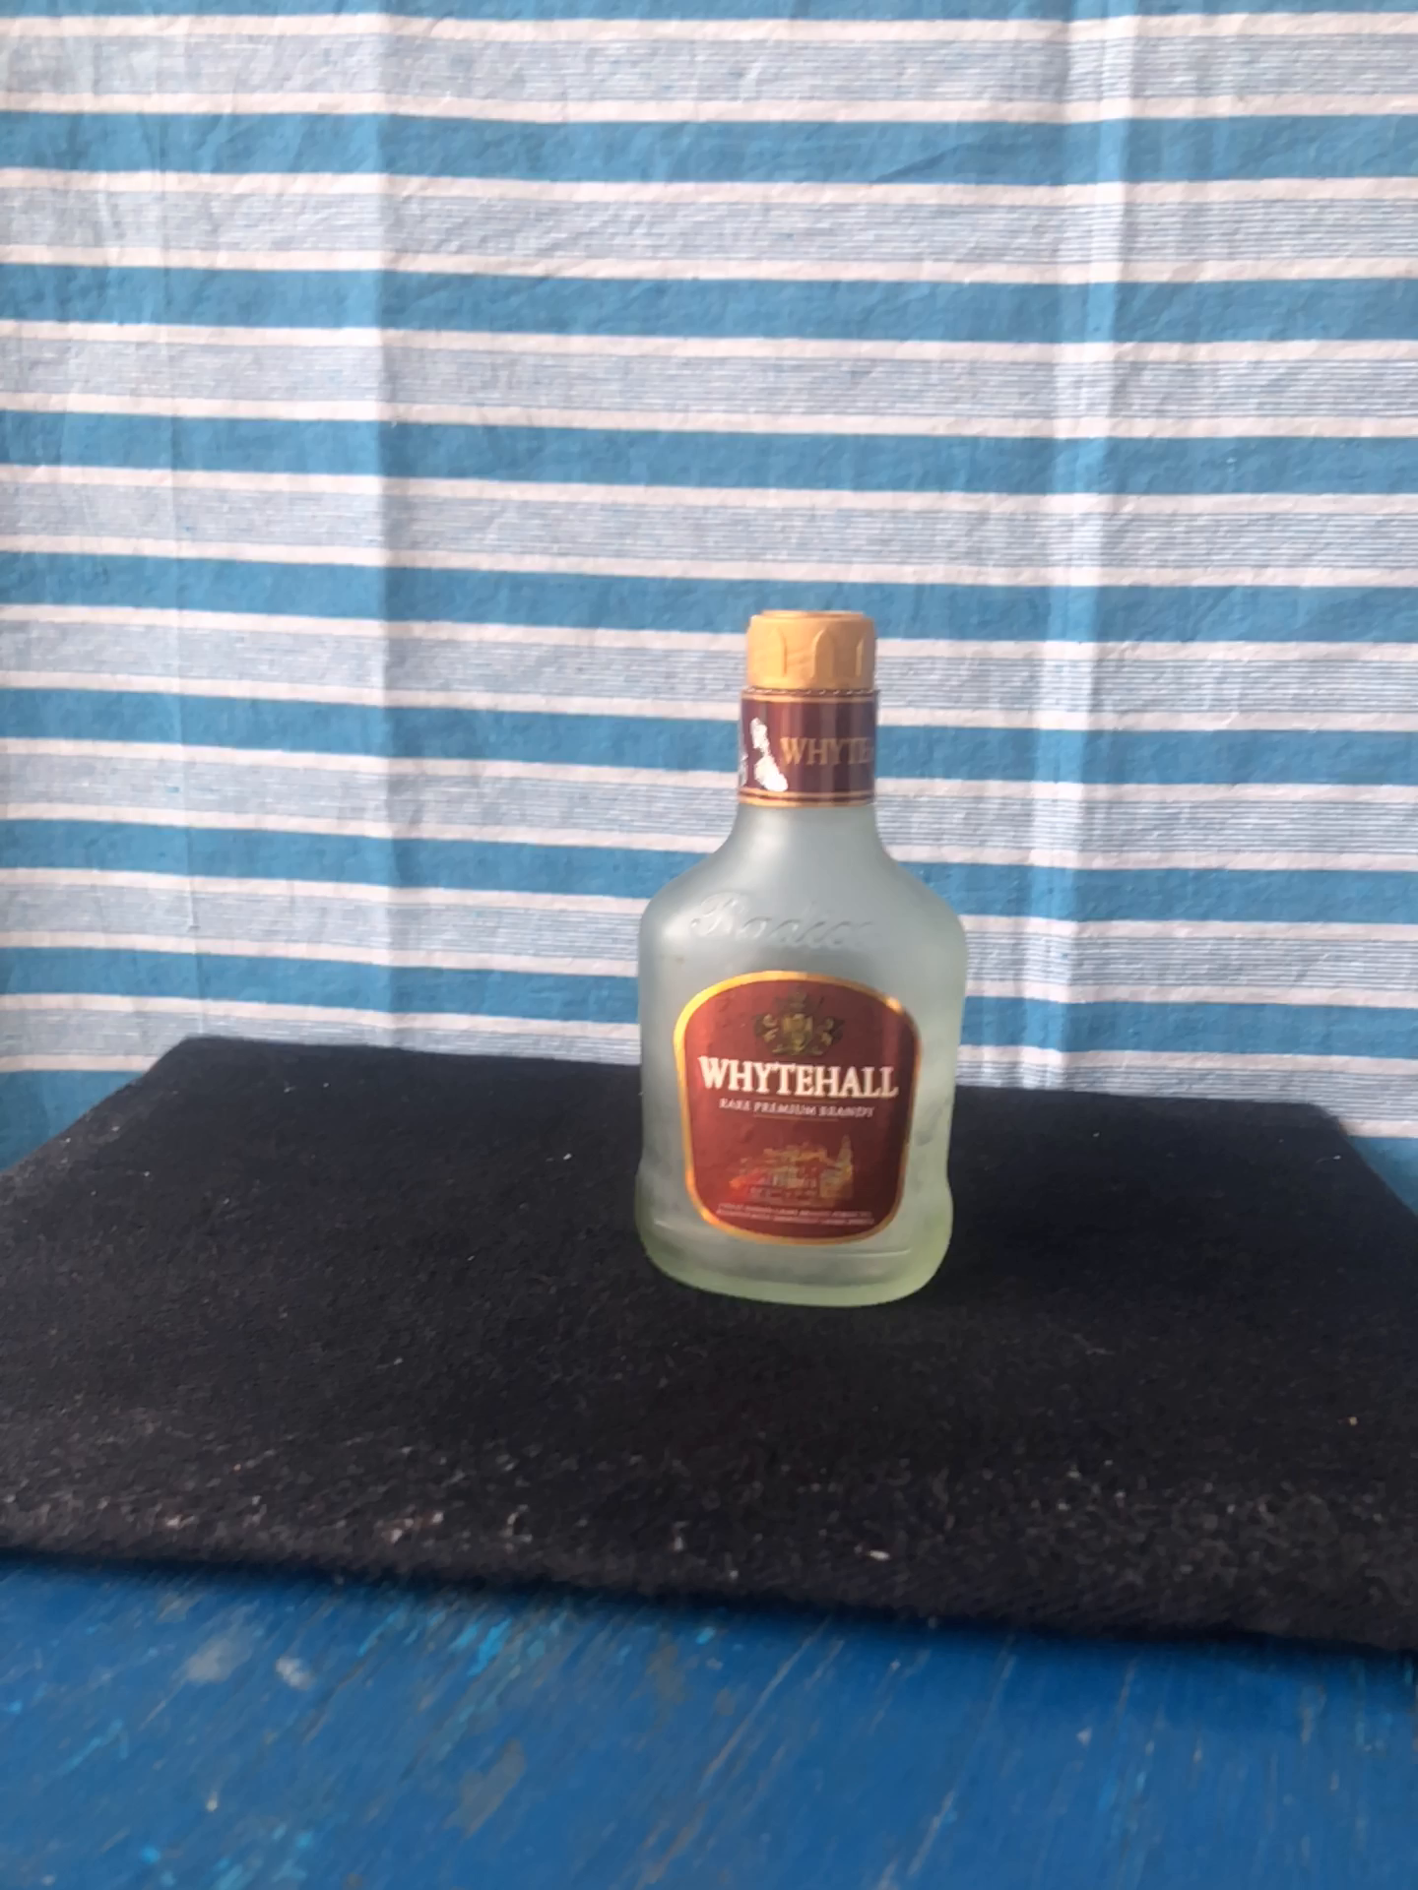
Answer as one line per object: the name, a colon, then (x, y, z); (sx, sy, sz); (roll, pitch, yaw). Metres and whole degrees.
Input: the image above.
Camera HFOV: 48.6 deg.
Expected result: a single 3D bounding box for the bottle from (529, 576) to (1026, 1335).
bottle: (0.013, -0.002, 0.306); (0.080, 0.130, 0.060); (5, 14, 8)
